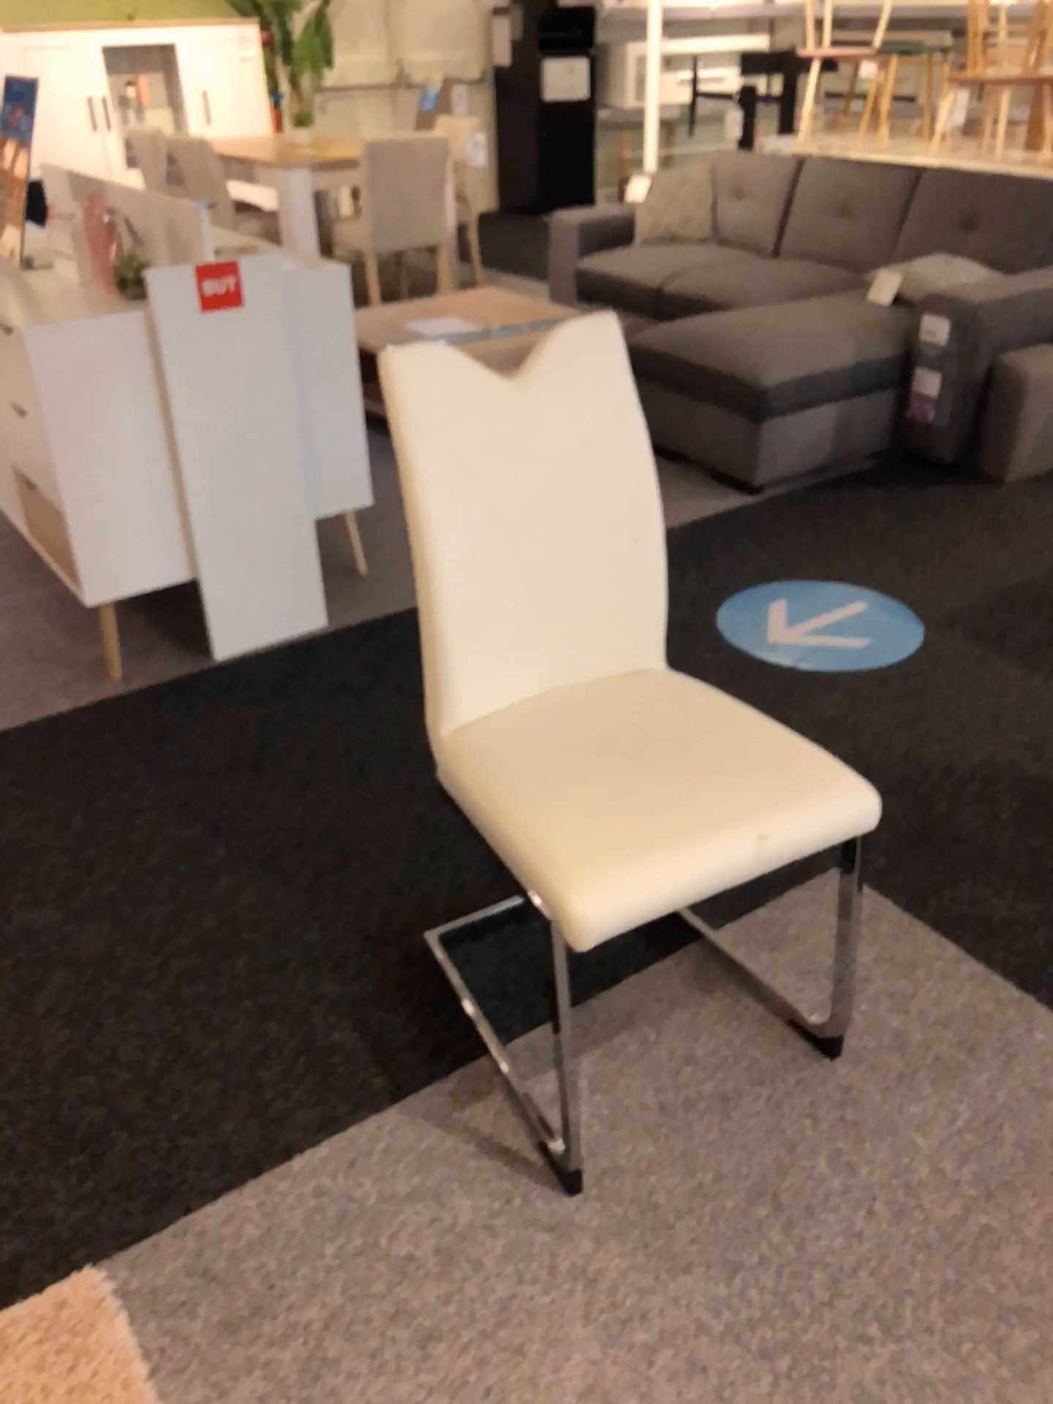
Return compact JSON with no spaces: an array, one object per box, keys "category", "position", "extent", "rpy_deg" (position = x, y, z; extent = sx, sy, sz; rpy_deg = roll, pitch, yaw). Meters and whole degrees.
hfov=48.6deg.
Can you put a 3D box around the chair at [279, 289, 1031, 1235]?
[{"category":"chair","position":[0.119,0.021,1.516],"extent":[0.562,0.915,0.631],"rpy_deg":[-18,33,-27]}]
